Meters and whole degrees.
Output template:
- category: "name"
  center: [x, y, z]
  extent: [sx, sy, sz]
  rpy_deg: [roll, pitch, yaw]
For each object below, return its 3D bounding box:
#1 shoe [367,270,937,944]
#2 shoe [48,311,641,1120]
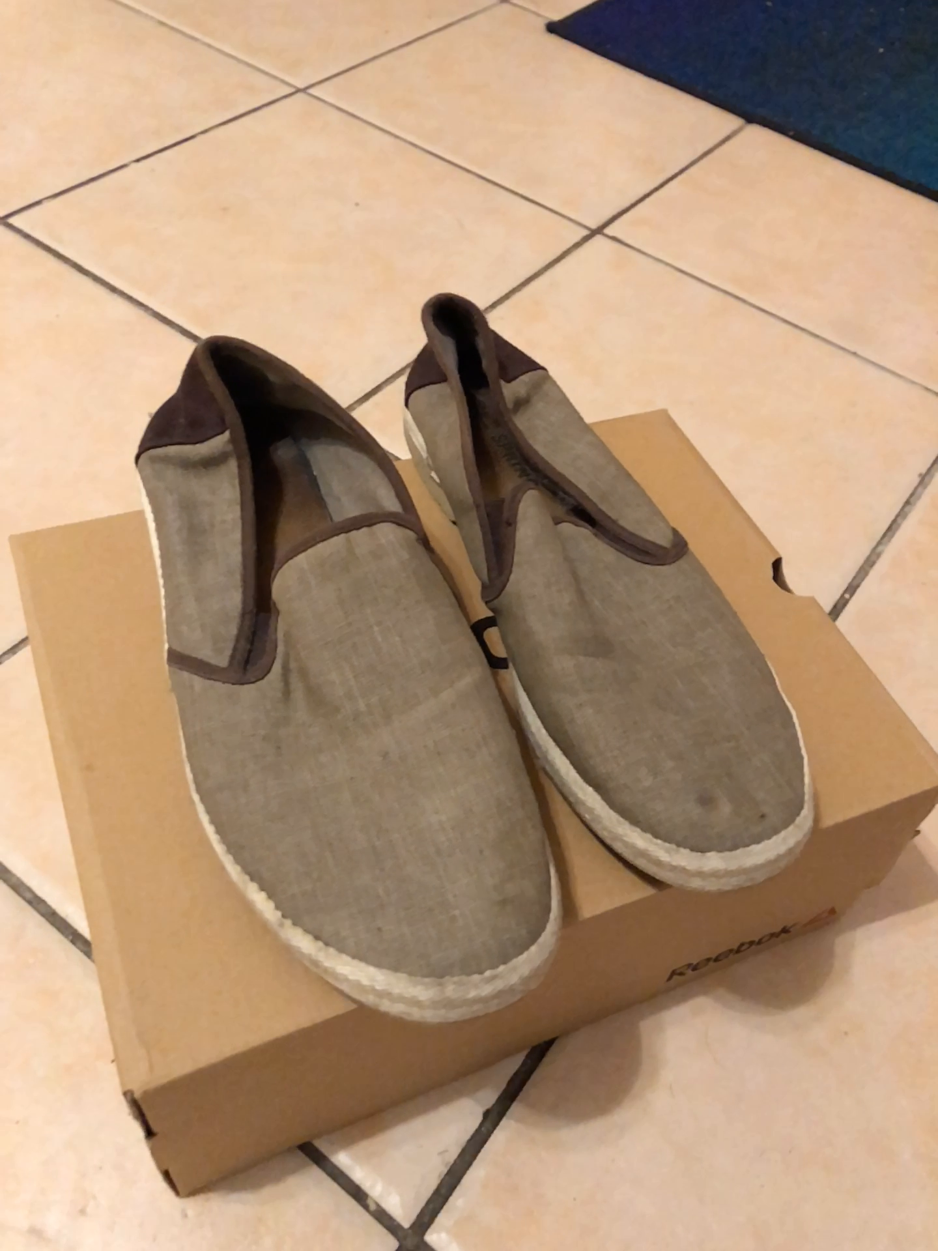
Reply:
- category: "shoe"
  center: [0.049, -0.029, 0.404]
  extent: [0.100, 0.069, 0.272]
  rpy_deg: [-12, 53, -18]
- category: "shoe"
  center: [-0.064, 0.004, 0.380]
  extent: [0.110, 0.069, 0.293]
  rpy_deg: [-15, 53, -20]
